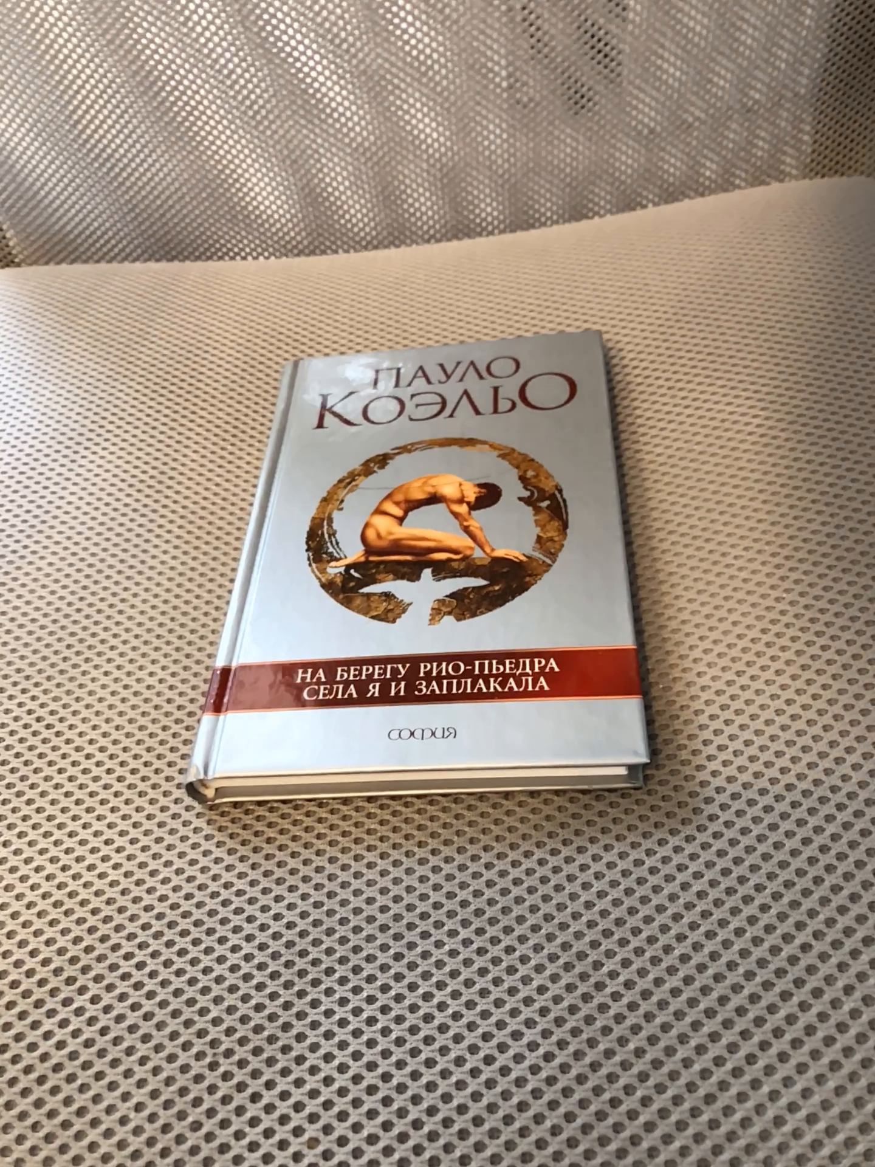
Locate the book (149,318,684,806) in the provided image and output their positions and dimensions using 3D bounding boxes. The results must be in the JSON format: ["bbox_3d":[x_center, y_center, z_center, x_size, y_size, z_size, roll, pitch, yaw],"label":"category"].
[{"bbox_3d":[-0.002,-0.017,0.298,0.131,0.020,0.174,-3,49,7],"label":"book"}]
